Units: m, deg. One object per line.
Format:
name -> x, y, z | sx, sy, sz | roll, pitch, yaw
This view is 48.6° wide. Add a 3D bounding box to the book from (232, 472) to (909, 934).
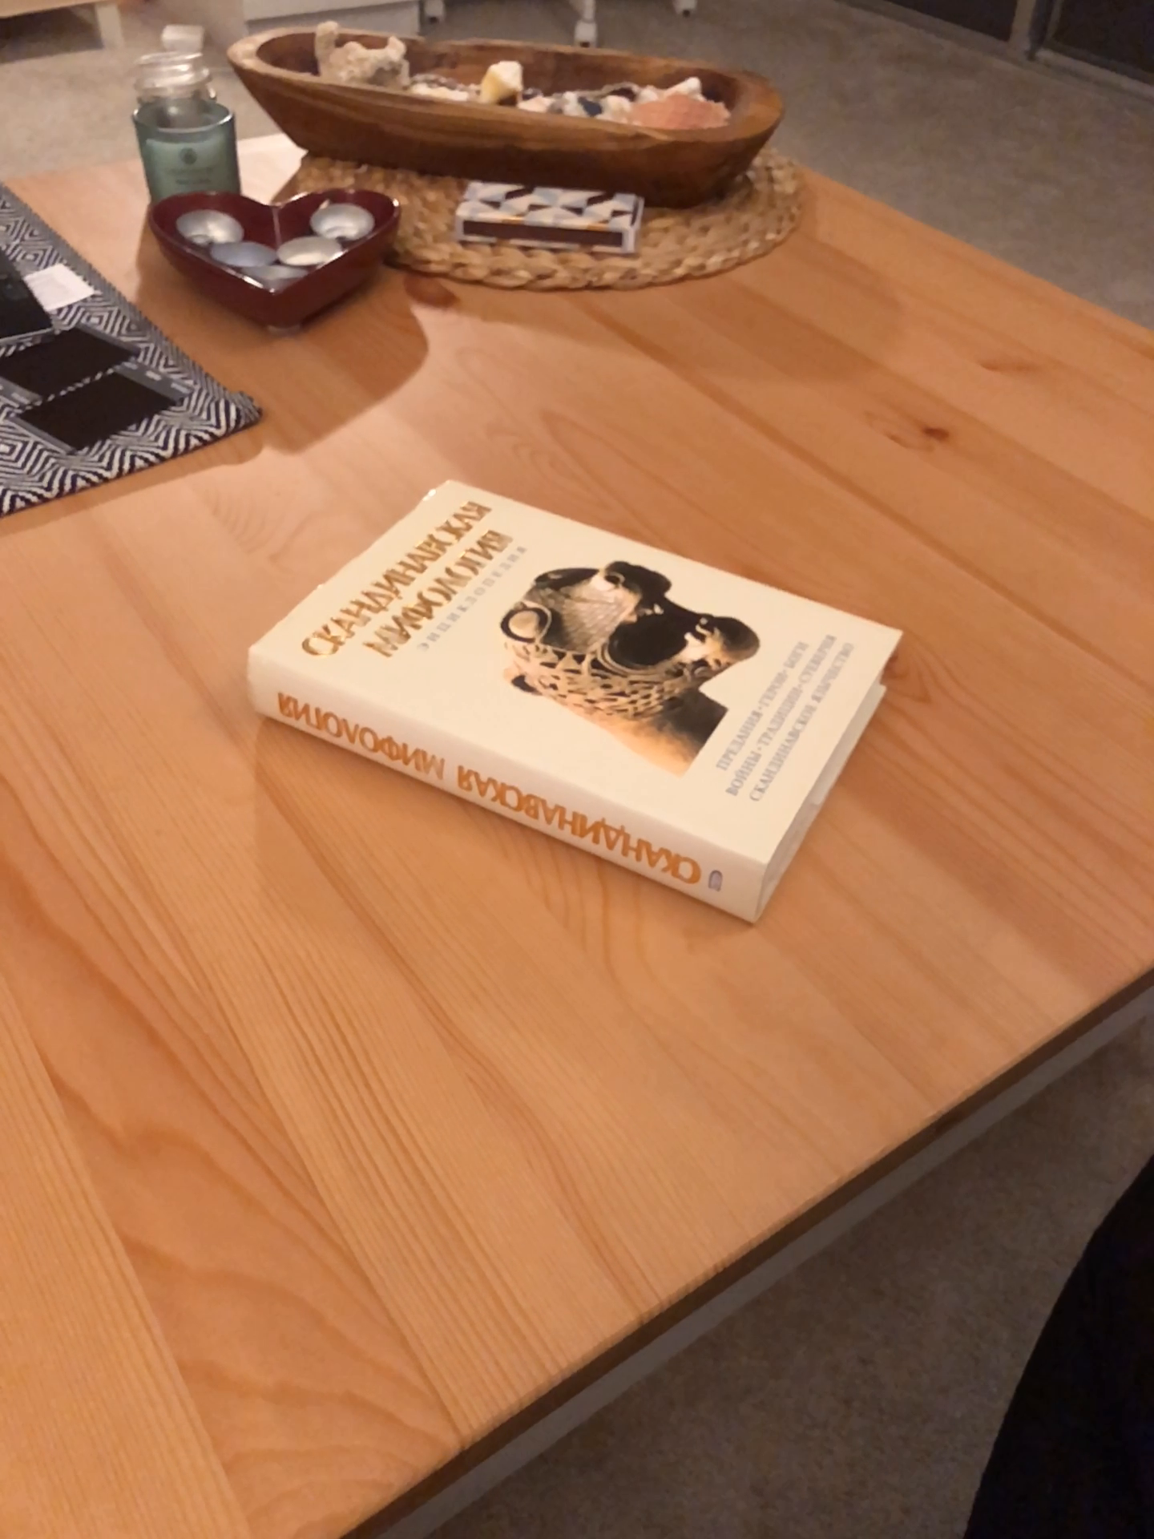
book -> 0.001, -0.039, 0.503 | 0.215, 0.030, 0.151 | 22, 47, 19
